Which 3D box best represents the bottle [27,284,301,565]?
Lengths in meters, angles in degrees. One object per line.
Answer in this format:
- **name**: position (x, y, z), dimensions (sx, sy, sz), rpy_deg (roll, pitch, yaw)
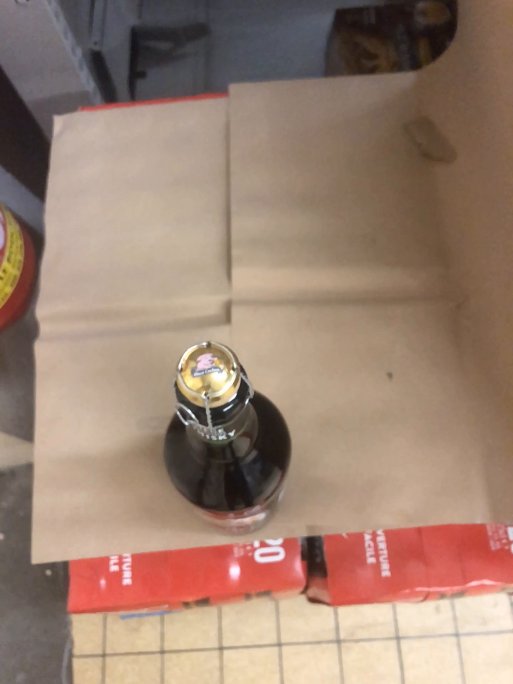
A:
- **bottle**: position (-0.025, 0.079, 0.351), dimensions (0.090, 0.299, 0.080), rpy_deg (5, 66, 5)
